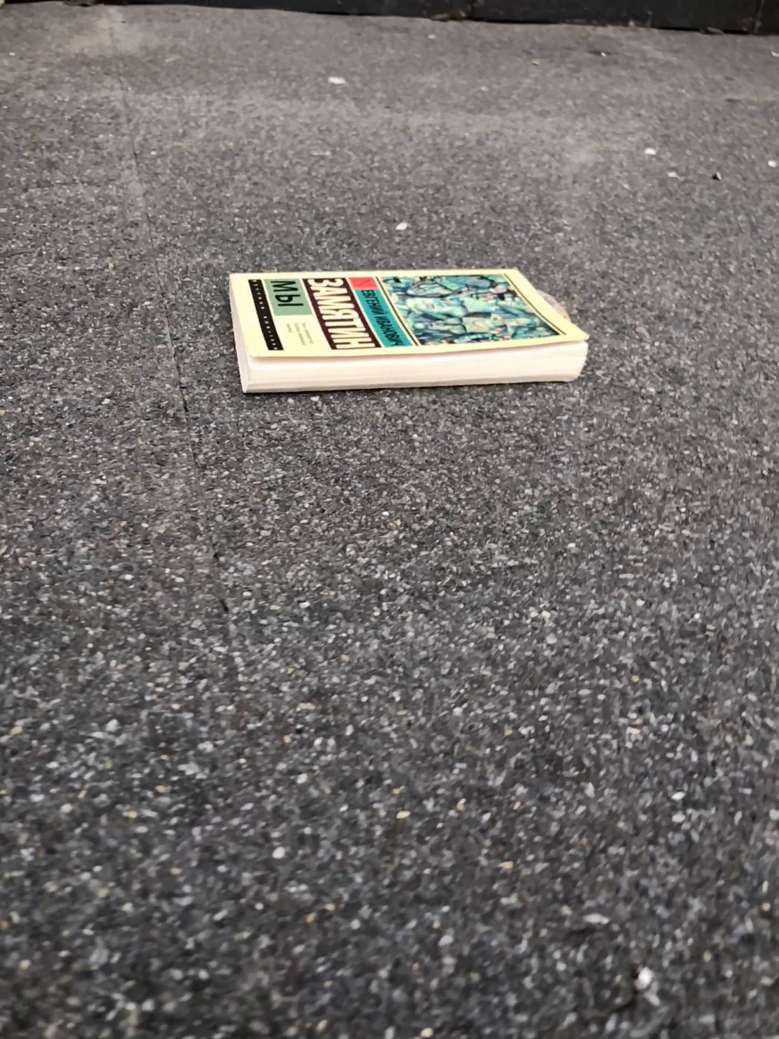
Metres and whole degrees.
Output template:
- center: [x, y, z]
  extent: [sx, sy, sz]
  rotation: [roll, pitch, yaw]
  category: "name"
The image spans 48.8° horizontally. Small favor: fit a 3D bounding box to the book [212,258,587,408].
- center: [-0.001, -0.108, 0.474]
  extent: [0.181, 0.026, 0.121]
  rotation: [-5, 38, -13]
  category: "book"
